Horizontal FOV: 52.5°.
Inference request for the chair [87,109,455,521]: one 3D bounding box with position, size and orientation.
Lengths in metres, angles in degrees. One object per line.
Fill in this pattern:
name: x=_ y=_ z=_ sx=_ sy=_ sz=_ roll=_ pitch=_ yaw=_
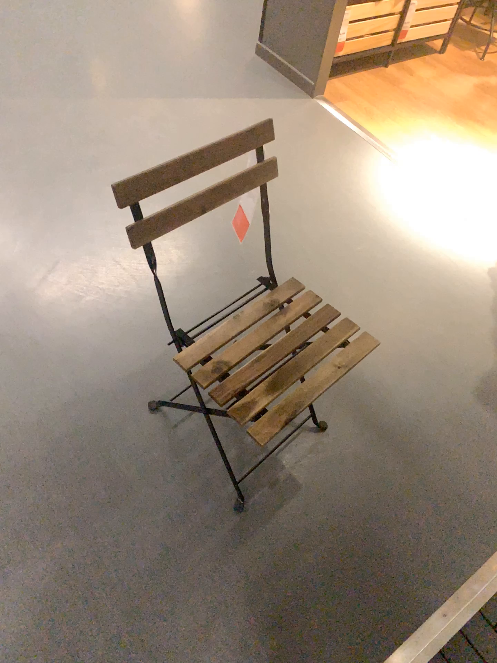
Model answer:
chair: x=0.001 y=-0.004 z=1.157 sx=0.421 sy=0.698 sz=0.501 roll=-35 pitch=65 yaw=-29
